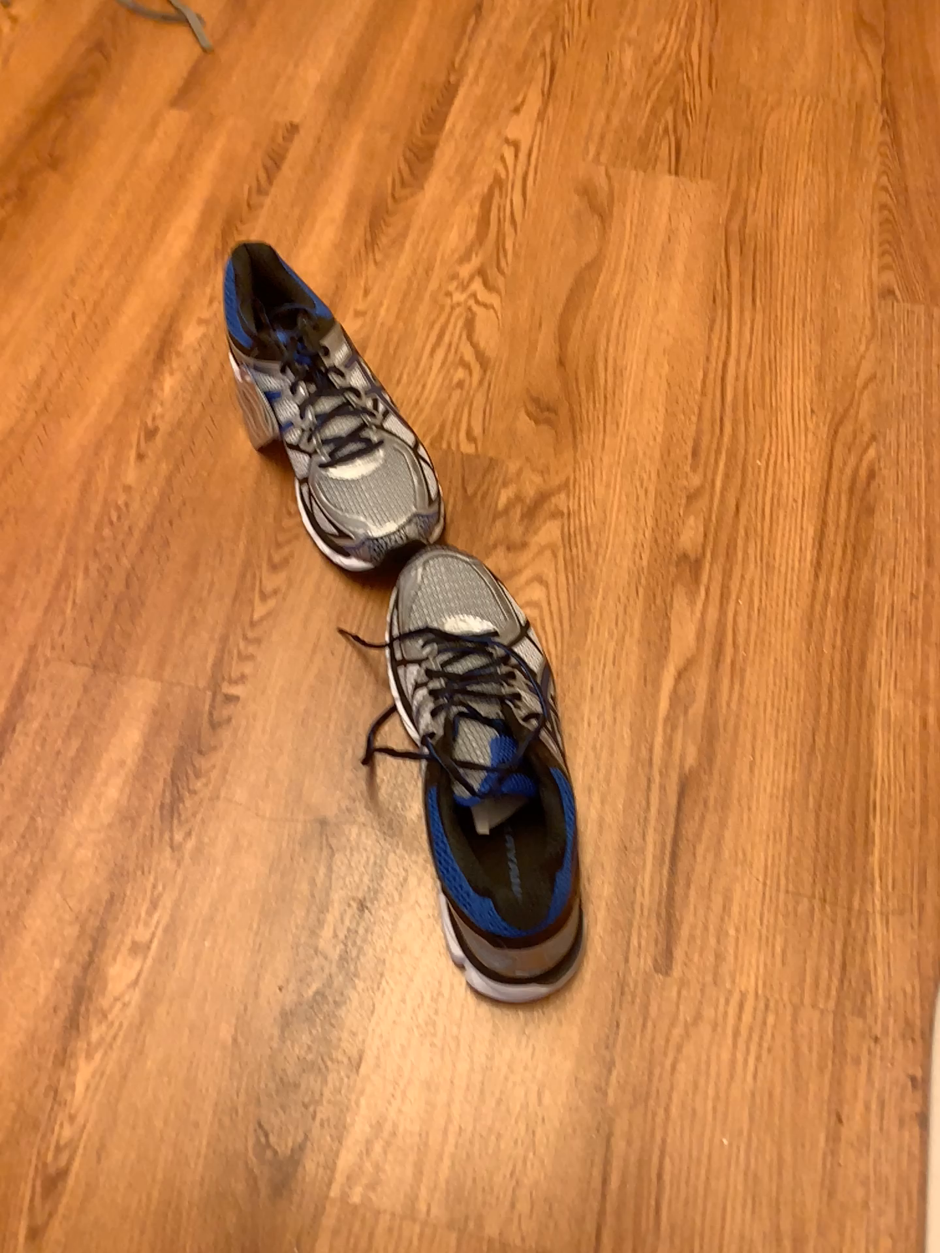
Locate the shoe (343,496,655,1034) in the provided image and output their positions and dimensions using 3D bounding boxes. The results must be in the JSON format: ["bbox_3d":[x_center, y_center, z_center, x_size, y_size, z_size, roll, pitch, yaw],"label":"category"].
[{"bbox_3d":[0.007,0.079,0.615,0.100,0.100,0.311,-14,62,-7],"label":"shoe"}]

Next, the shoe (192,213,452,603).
[{"bbox_3d":[-0.117,-0.176,0.747,0.100,0.100,0.291,-20,63,-11],"label":"shoe"}]
